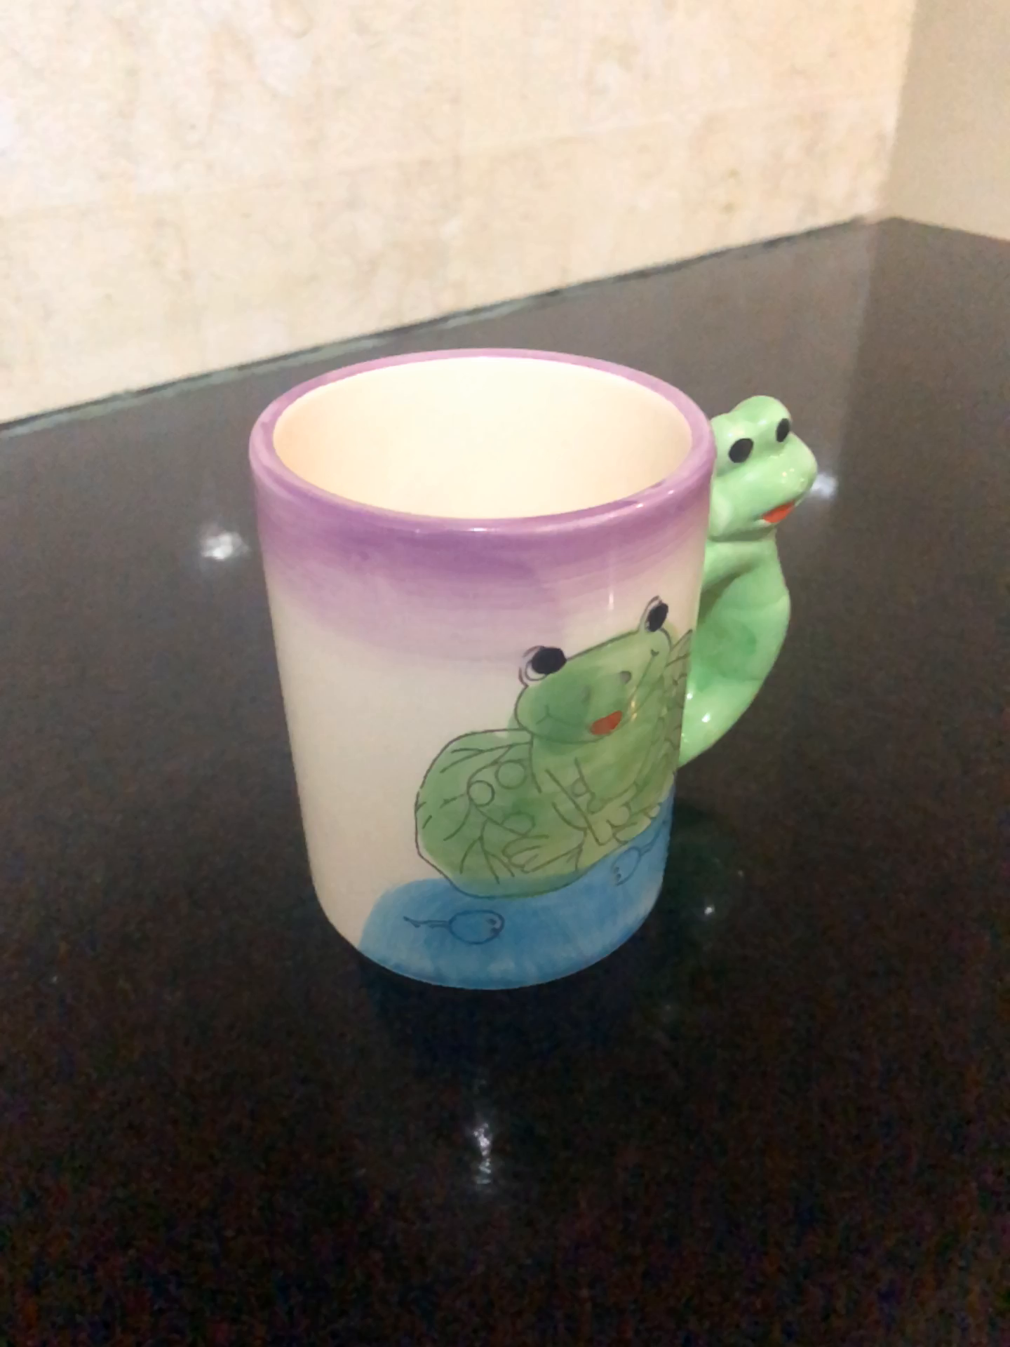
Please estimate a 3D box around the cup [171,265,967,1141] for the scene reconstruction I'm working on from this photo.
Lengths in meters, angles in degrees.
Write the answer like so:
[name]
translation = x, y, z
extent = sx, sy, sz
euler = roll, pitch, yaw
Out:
[cup]
translation = 0.015, -0.005, 0.218
extent = 0.080, 0.109, 0.110
euler = 26, 42, 34
